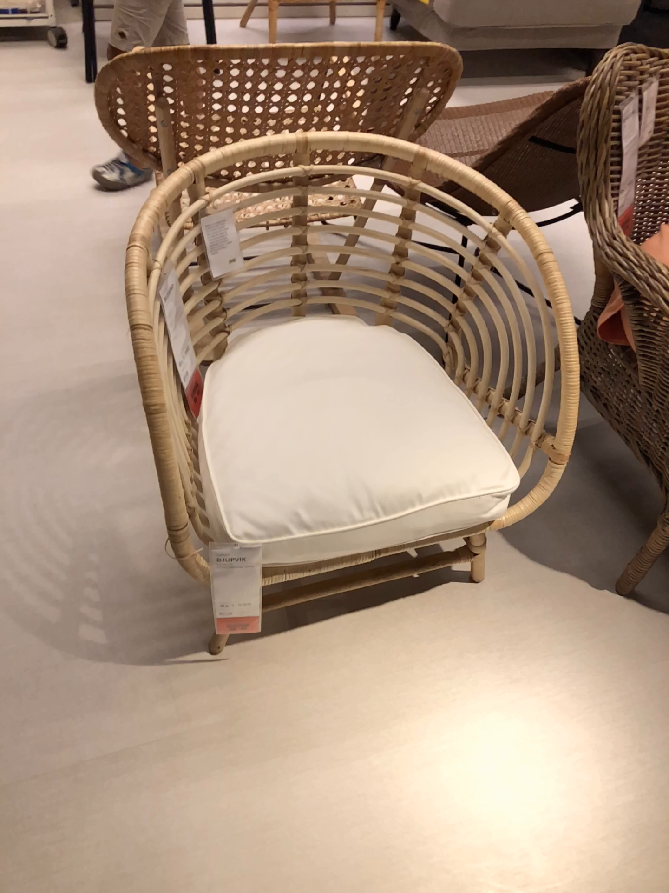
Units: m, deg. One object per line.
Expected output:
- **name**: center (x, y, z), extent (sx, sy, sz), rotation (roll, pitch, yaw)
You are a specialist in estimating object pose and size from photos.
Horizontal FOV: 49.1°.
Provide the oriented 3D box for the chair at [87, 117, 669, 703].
- **chair**: center (-0.006, -0.074, 1.475), extent (0.751, 0.825, 0.684), rotation (-11, 51, -16)
